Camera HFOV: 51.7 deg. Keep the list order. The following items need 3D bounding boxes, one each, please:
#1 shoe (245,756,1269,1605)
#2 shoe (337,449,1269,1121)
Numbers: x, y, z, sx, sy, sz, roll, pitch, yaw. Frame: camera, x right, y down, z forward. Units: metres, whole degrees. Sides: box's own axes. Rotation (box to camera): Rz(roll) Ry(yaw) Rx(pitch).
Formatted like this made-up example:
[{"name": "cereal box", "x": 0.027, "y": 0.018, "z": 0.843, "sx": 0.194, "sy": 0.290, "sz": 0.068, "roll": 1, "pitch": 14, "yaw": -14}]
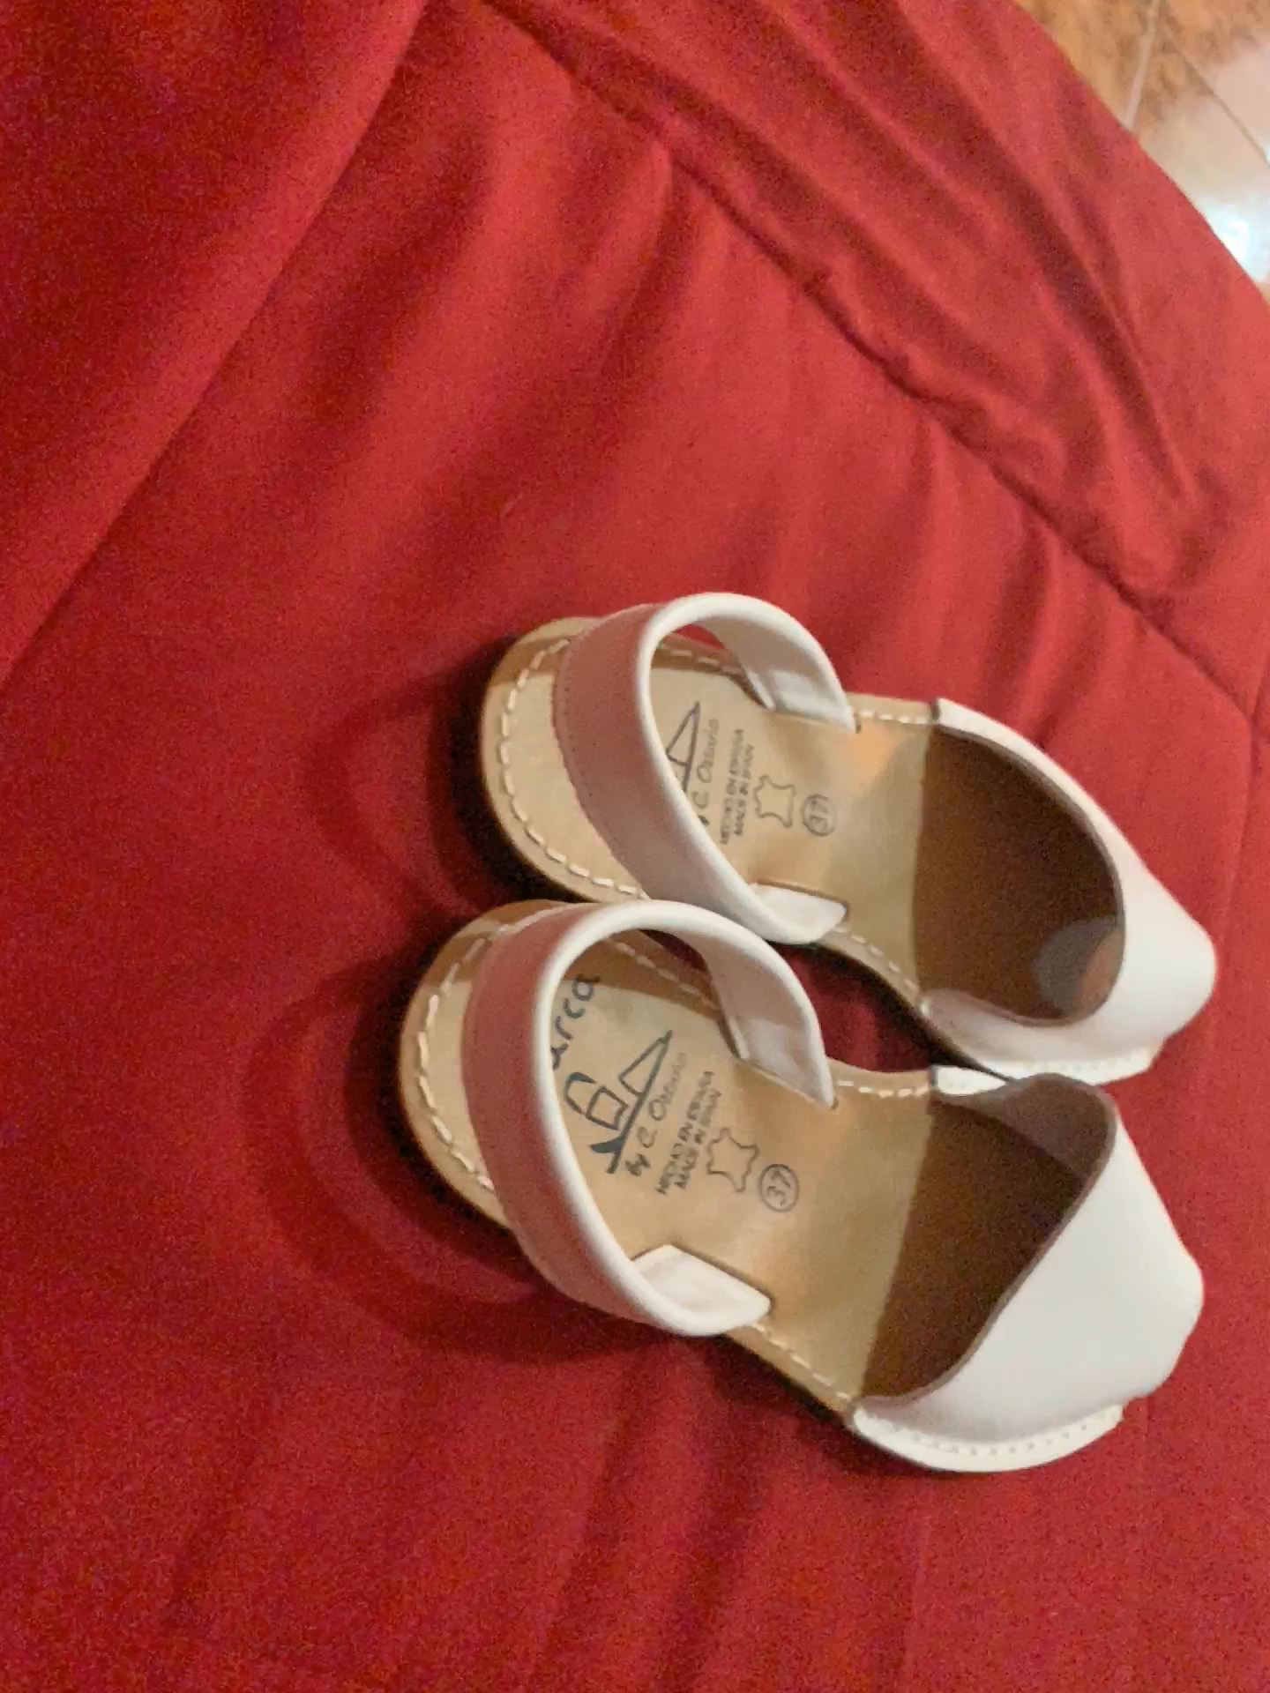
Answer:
[{"name": "shoe", "x": 0.053, "y": 0.090, "z": 0.309, "sx": 0.248, "sy": 0.063, "sz": 0.108, "roll": 29, "pitch": 64, "yaw": -27}, {"name": "shoe", "x": 0.060, "y": 0.004, "z": 0.336, "sx": 0.250, "sy": 0.063, "sz": 0.103, "roll": 15, "pitch": 71, "yaw": -32}]
